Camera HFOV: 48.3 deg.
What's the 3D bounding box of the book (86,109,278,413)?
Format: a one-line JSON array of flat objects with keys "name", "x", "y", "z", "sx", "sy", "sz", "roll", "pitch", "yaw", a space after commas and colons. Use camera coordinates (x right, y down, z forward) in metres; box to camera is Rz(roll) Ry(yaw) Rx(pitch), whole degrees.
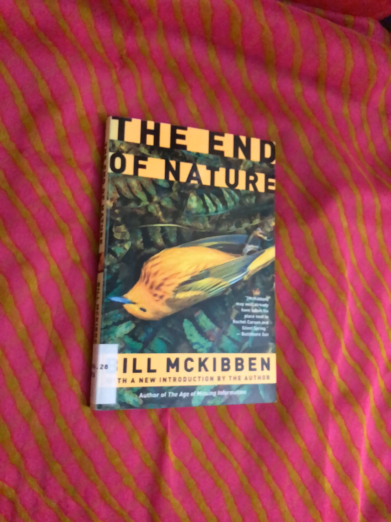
[{"name": "book", "x": -0.004, "y": 0.002, "z": 0.311, "sx": 0.132, "sy": 0.020, "sz": 0.194, "roll": 4, "pitch": 83, "yaw": -22}]
